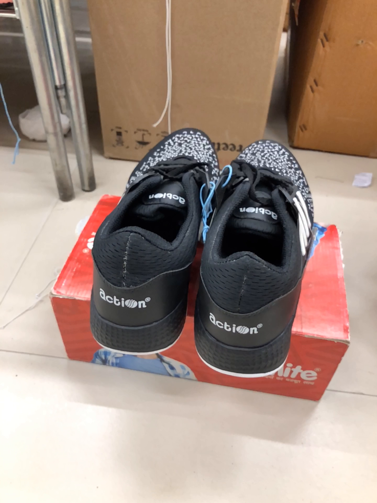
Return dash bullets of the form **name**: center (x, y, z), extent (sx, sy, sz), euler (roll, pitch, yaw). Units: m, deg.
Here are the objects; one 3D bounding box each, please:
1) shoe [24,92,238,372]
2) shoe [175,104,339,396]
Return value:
- **shoe**: center (-0.030, -0.040, 0.401), extent (0.111, 0.102, 0.268), euler (9, 45, 7)
- **shoe**: center (0.069, -0.024, 0.390), extent (0.101, 0.102, 0.268), euler (10, 45, 8)
